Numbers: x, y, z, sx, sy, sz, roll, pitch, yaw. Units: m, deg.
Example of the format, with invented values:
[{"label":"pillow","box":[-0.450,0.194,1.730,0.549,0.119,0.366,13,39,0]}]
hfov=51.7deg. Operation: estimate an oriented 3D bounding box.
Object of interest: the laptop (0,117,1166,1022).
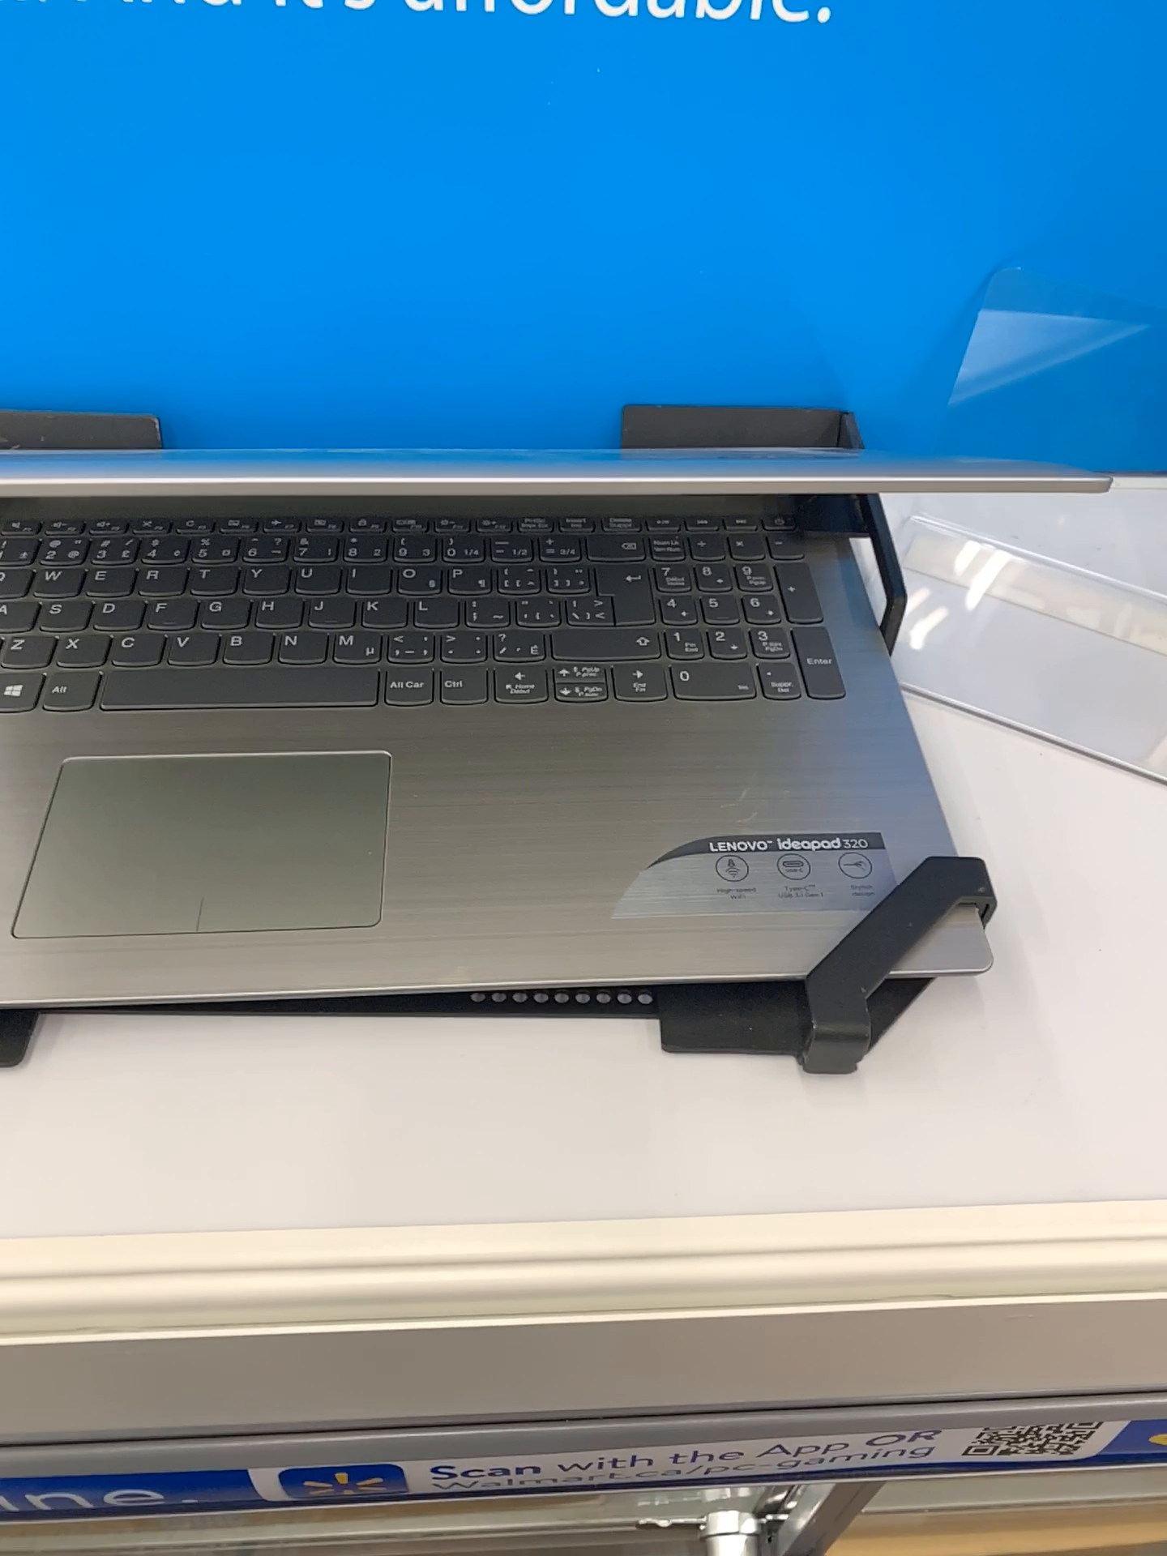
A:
[{"label":"laptop","box":[-0.062,-0.072,0.329,0.326,0.115,0.230,-1,48,-5]}]
